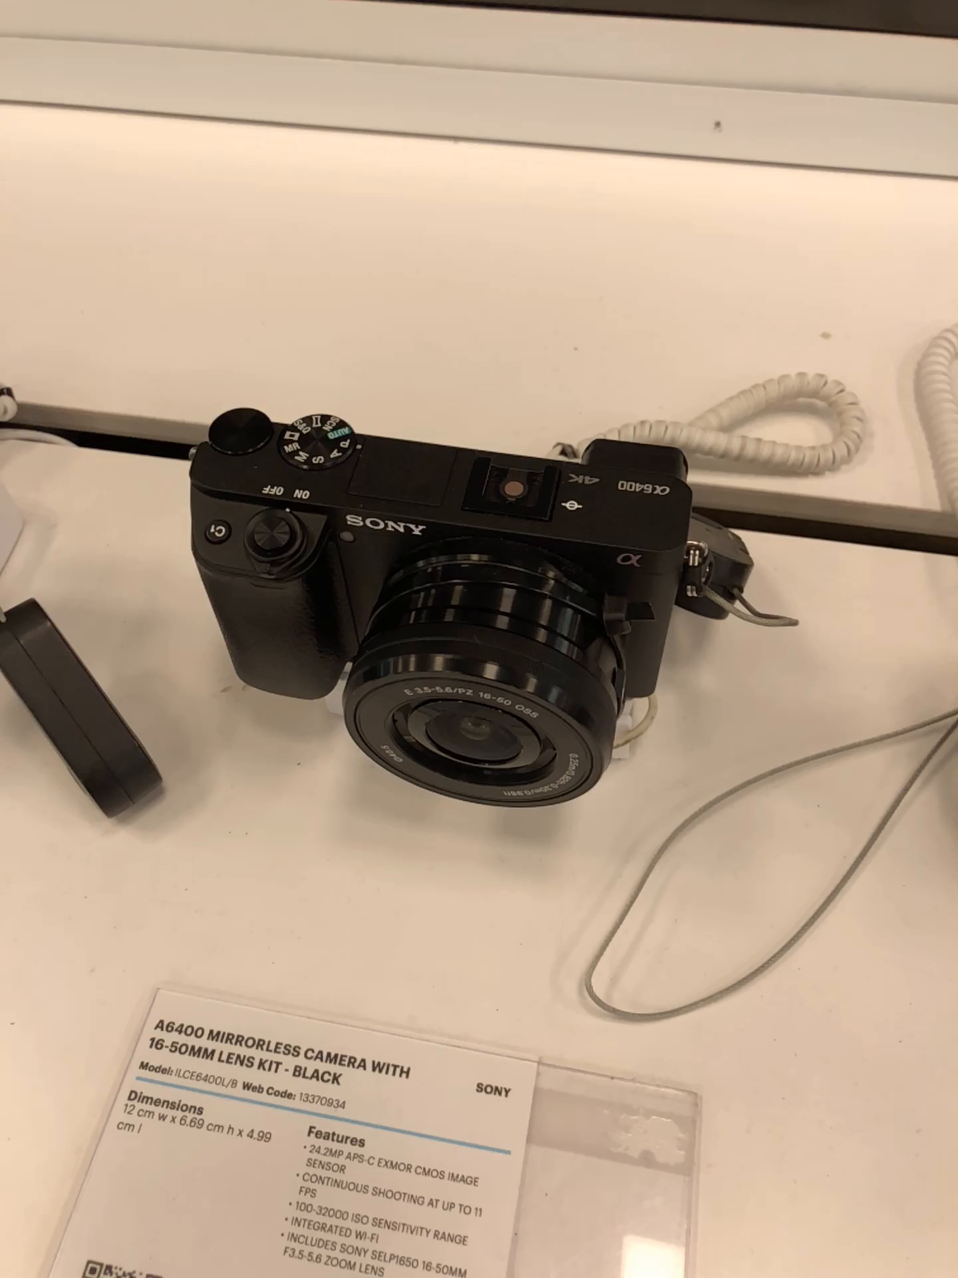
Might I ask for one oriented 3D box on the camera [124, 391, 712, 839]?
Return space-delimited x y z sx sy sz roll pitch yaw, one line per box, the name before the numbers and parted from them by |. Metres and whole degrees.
camera | -0.009 -0.006 0.268 0.120 0.070 0.070 7 55 7
